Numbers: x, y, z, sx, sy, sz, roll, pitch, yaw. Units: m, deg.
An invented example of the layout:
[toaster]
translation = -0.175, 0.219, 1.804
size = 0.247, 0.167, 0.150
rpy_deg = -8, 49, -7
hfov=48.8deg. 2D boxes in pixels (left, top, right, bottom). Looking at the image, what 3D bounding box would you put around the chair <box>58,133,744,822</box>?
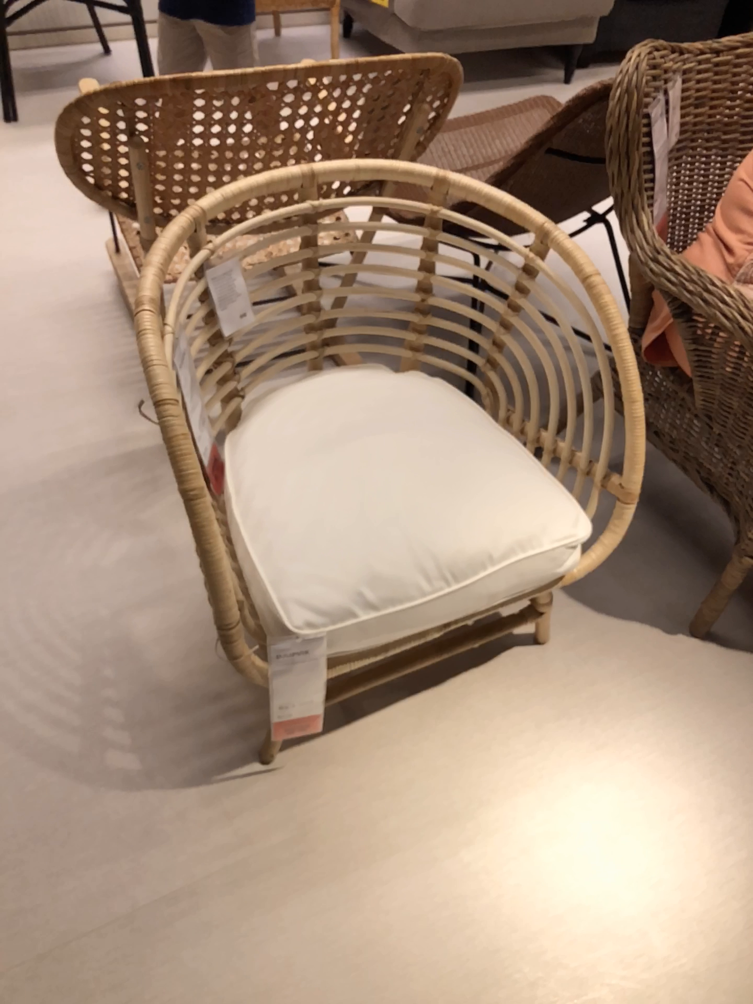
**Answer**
[chair]
translation = -0.026, -0.055, 1.483
size = 0.751, 0.825, 0.683
rpy_deg = -18, 52, -21
